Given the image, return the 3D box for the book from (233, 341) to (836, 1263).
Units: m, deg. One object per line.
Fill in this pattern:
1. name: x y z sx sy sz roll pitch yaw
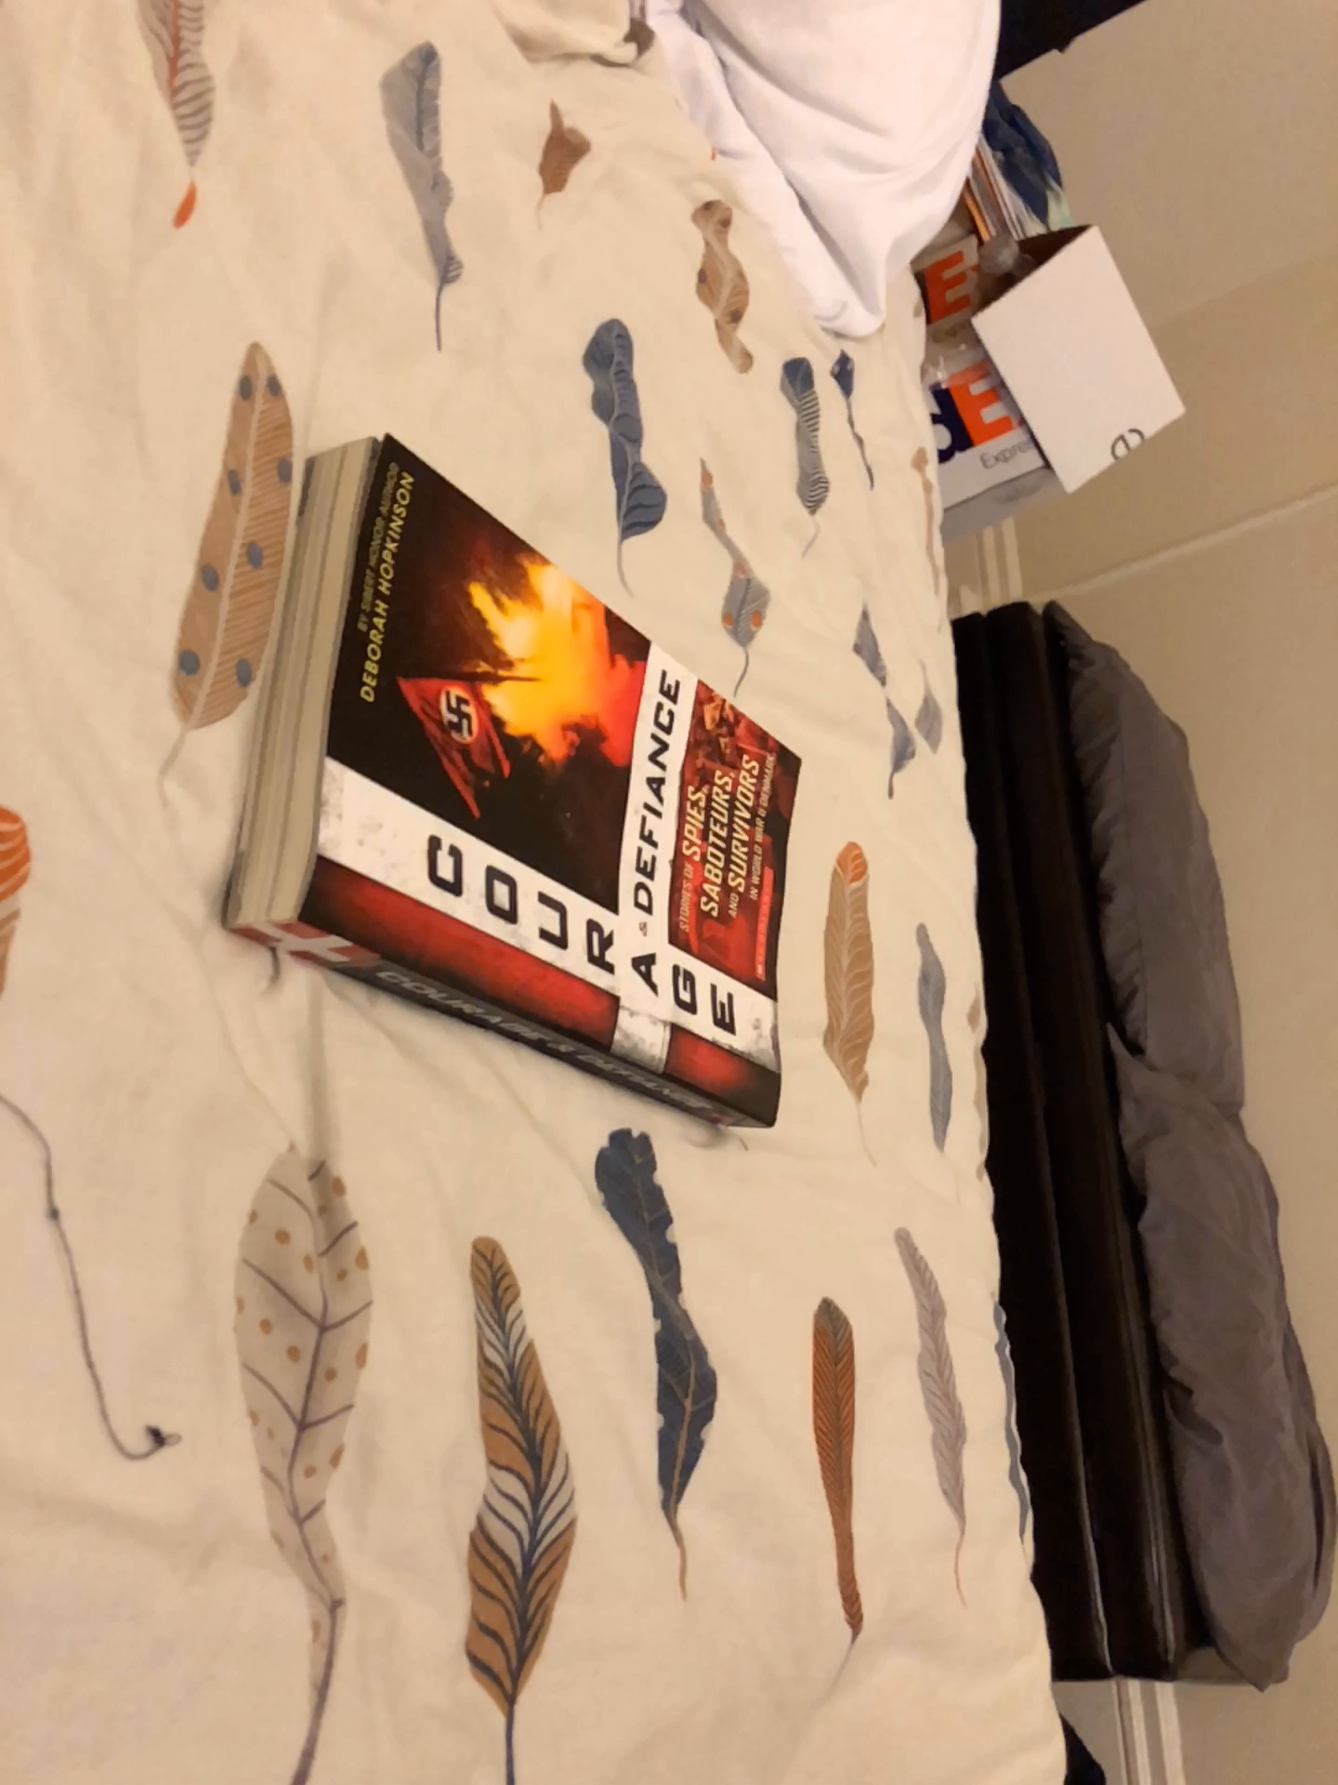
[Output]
1. book: -0.023 -0.009 0.424 0.231 0.020 0.200 29 51 -52
